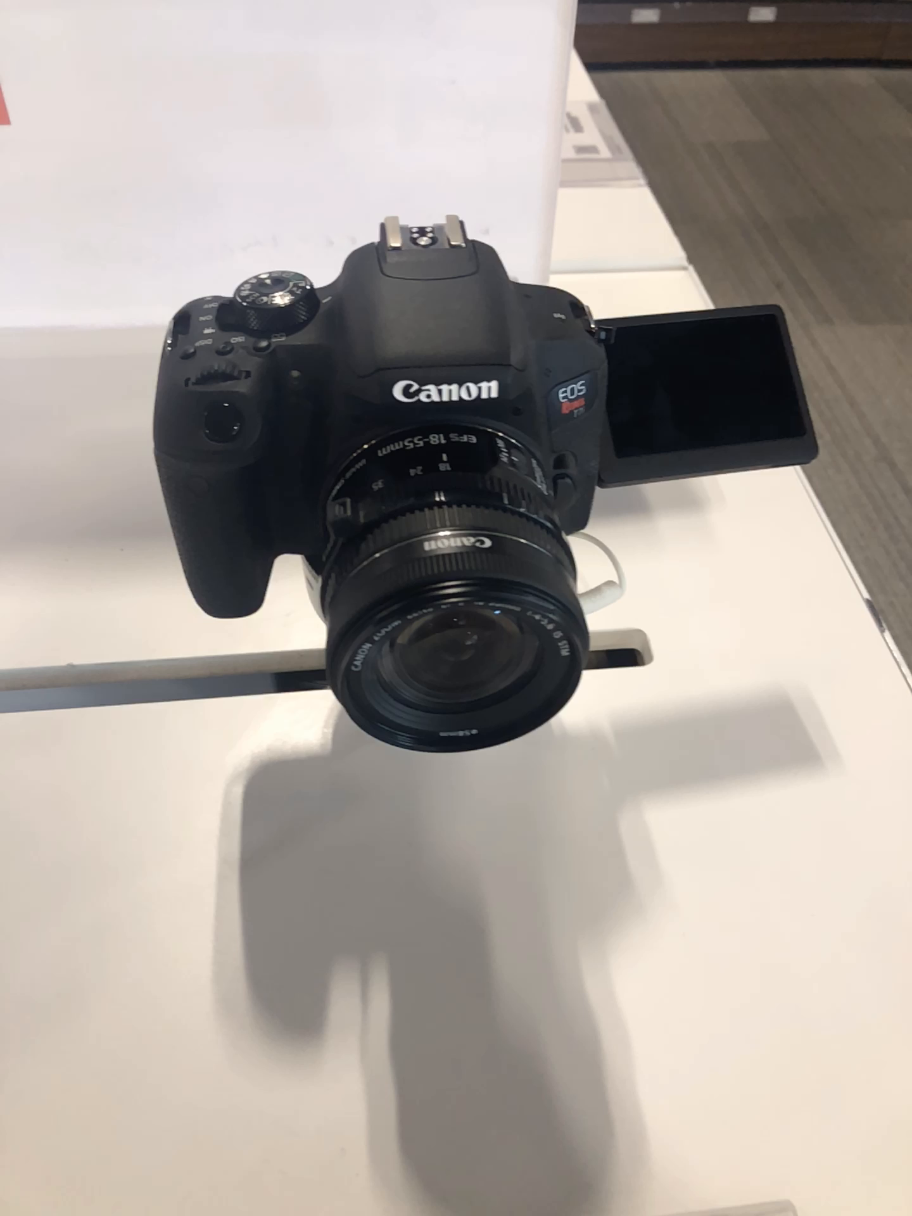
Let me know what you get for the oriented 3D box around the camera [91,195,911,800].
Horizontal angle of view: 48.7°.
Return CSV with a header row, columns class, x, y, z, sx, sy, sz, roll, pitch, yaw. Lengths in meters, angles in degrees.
class,x,y,z,sx,sy,sz,roll,pitch,yaw
camera,0.027,-0.034,0.273,0.210,0.099,0.111,-5,47,-6
